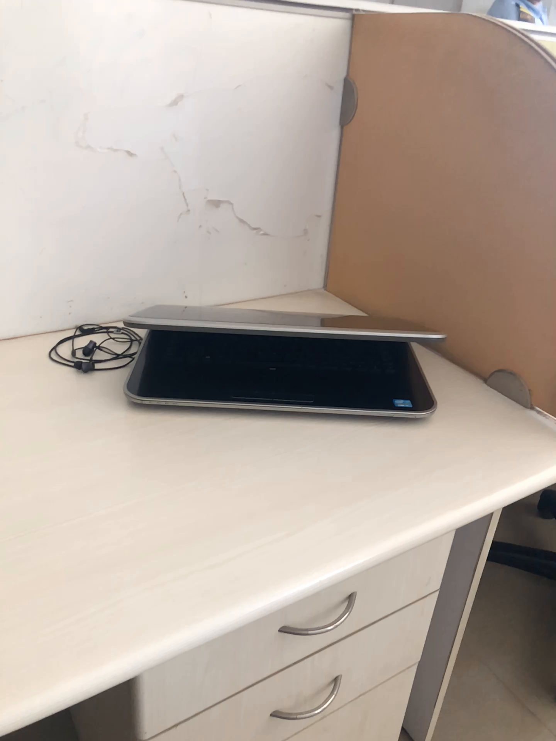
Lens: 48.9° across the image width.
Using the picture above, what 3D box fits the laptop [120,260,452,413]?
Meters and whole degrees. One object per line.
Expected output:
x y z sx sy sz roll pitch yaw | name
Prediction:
0.007 -0.054 0.783 0.357 0.094 0.239 3 26 -2 | laptop
